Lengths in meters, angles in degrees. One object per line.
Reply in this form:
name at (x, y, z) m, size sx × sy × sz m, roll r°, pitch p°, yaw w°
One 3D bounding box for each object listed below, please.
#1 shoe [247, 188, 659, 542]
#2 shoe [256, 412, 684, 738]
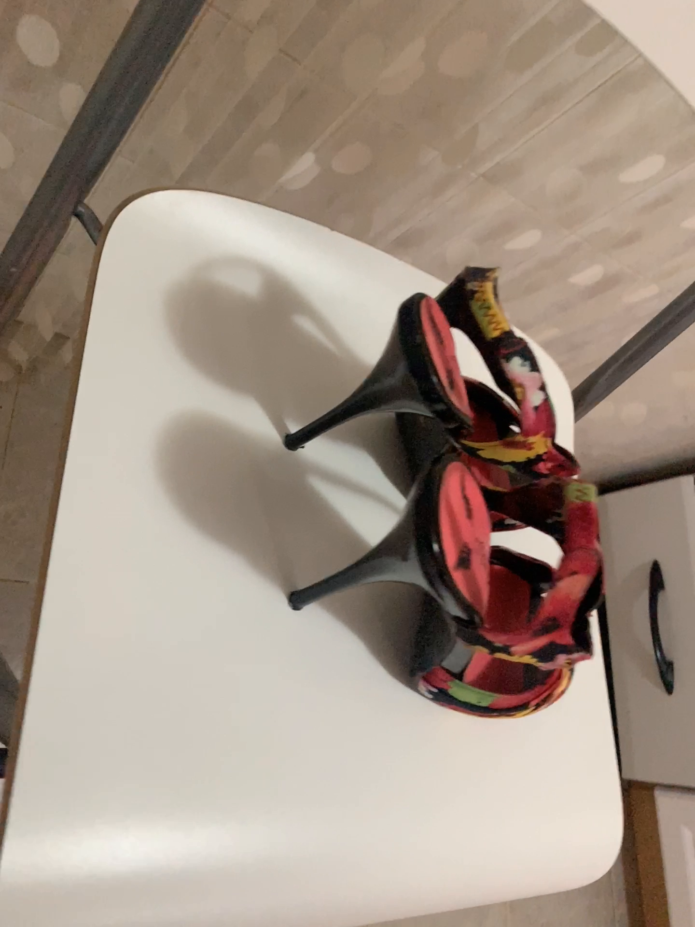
shoe at (0.060, -0.021, 0.320) m, size 0.206 × 0.085 × 0.080 m, roll 17°, pitch 65°, yaw -50°
shoe at (0.067, 0.062, 0.291) m, size 0.205 × 0.073 × 0.082 m, roll 27°, pitch 60°, yaw -46°
